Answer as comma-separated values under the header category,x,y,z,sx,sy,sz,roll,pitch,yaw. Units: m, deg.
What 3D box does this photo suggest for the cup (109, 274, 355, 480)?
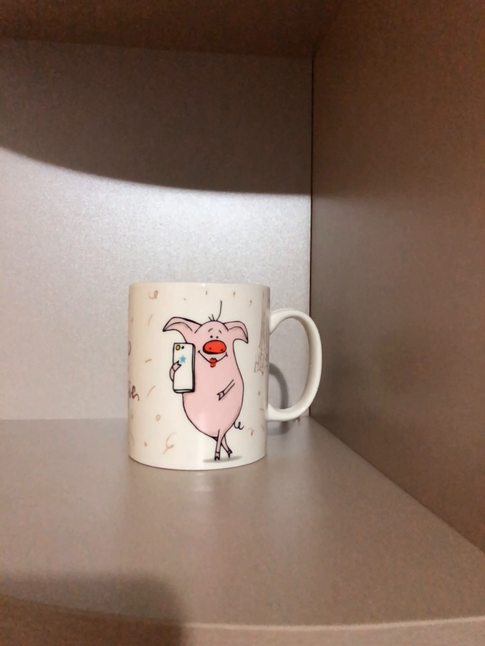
category,x,y,z,sx,sy,sz,roll,pitch,yaw
cup,-0.009,0.025,0.315,0.118,0.096,0.086,0,0,-26
